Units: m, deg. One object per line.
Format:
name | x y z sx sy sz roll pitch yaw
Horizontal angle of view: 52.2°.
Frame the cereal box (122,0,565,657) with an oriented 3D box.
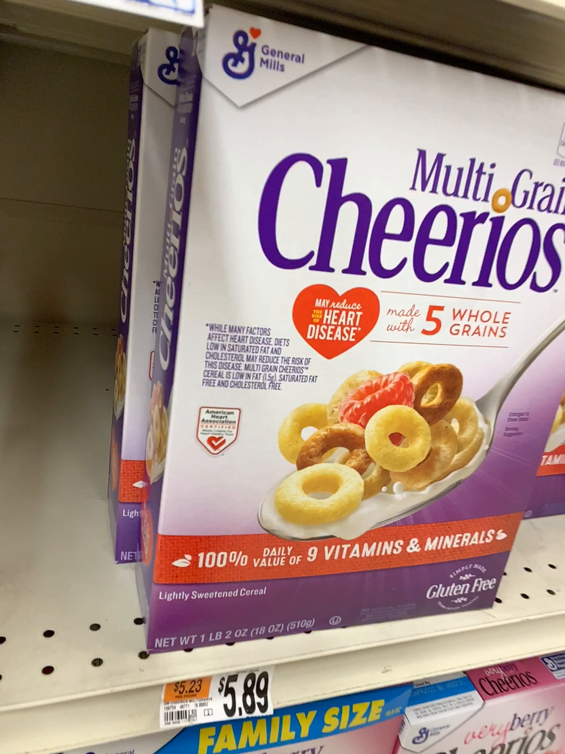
cereal box | 0.047 -0.005 0.340 0.250 0.319 0.070 2 20 -21
